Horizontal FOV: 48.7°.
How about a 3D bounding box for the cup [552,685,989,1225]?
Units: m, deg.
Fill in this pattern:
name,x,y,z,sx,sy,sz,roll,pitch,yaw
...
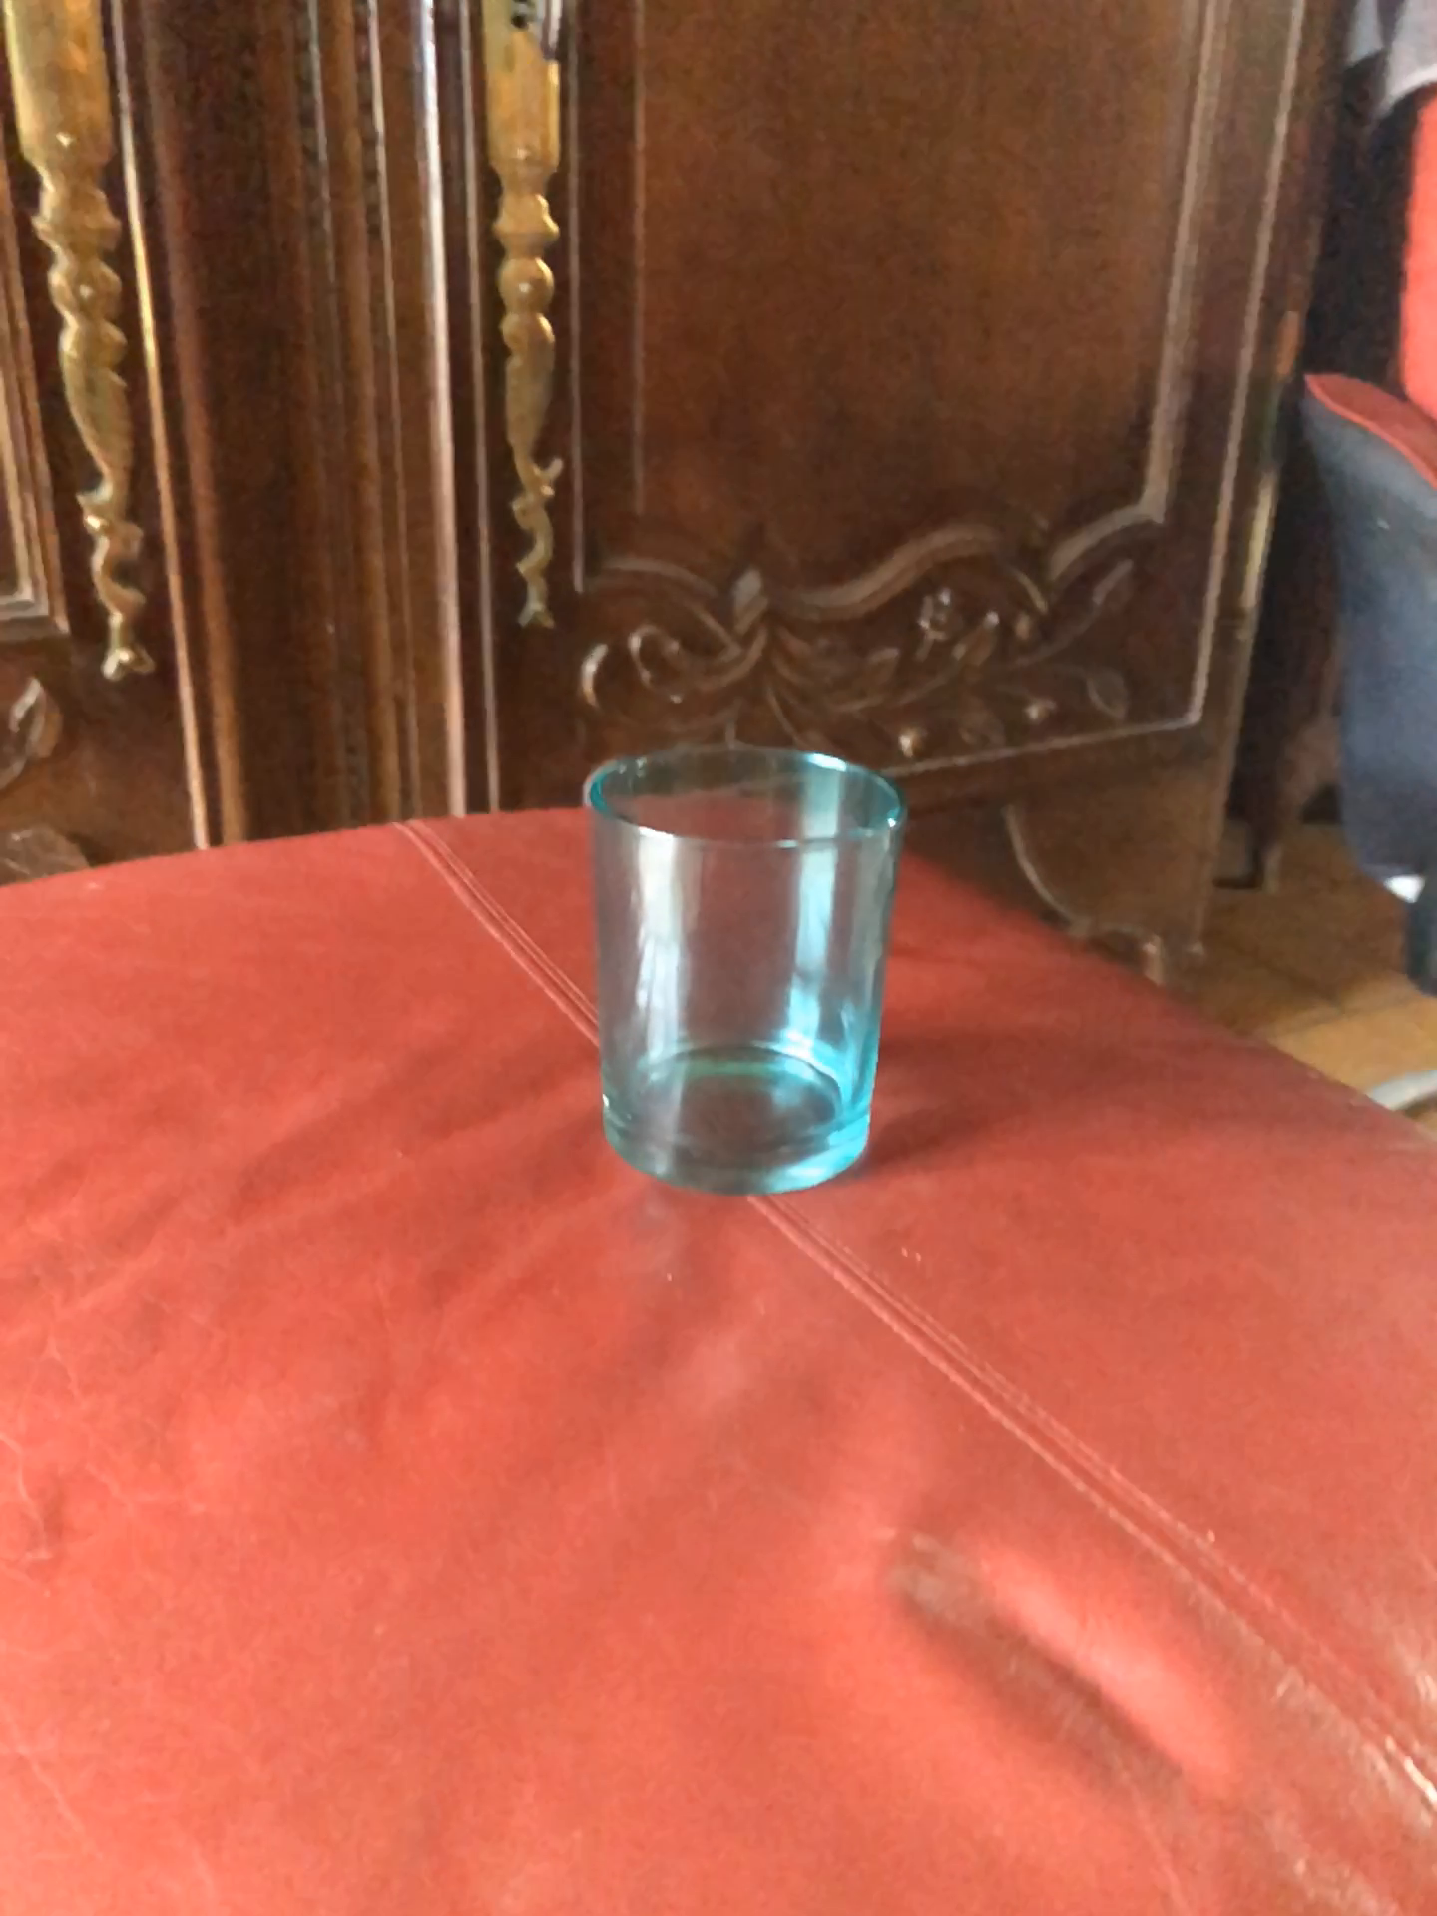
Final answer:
name,x,y,z,sx,sy,sz,roll,pitch,yaw
cup,0.012,-0.005,0.360,0.070,0.090,0.070,2,24,-1
